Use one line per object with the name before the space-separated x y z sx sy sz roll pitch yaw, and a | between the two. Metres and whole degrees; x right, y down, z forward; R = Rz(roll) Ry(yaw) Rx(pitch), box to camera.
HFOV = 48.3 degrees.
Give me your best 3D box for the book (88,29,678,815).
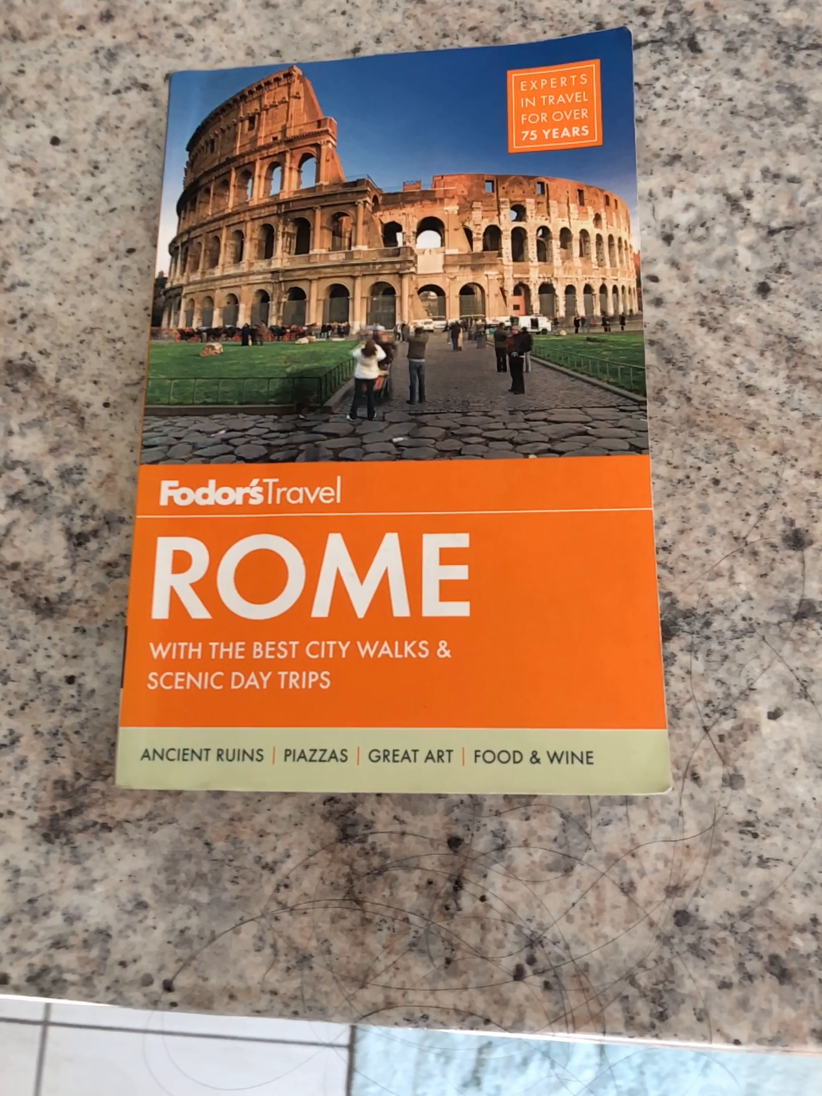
book | -0.006 -0.038 0.248 0.139 0.024 0.207 -1 77 6
